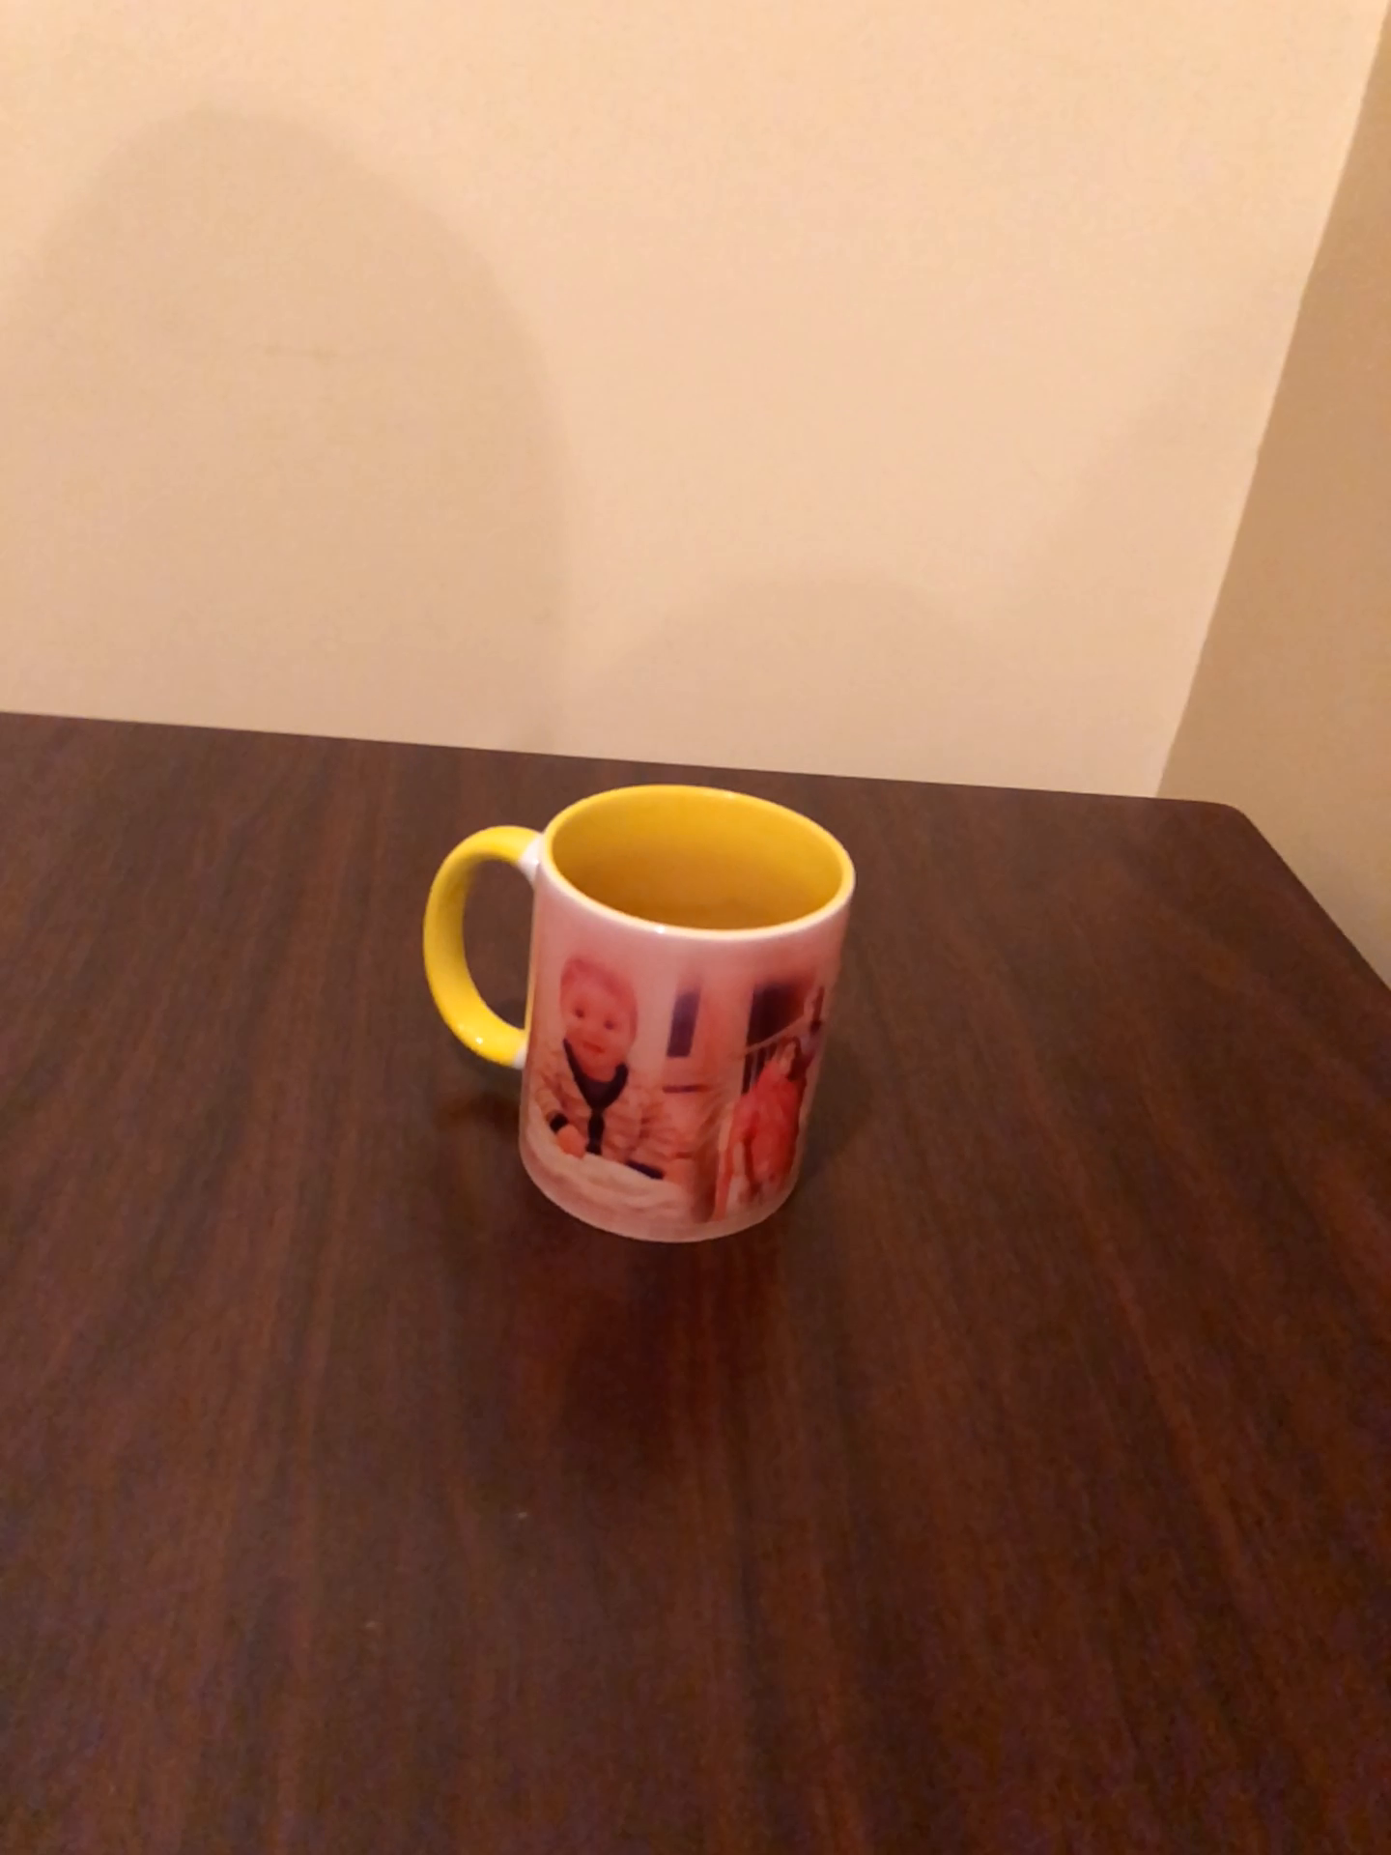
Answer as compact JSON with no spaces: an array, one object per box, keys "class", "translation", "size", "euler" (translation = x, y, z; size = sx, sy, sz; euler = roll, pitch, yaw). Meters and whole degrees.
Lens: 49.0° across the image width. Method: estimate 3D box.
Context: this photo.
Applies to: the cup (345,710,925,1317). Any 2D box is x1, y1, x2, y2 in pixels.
[{"class":"cup","translation":[-0.015,0.018,0.398],"size":[0.120,0.099,0.090],"euler":[14,31,11]}]
